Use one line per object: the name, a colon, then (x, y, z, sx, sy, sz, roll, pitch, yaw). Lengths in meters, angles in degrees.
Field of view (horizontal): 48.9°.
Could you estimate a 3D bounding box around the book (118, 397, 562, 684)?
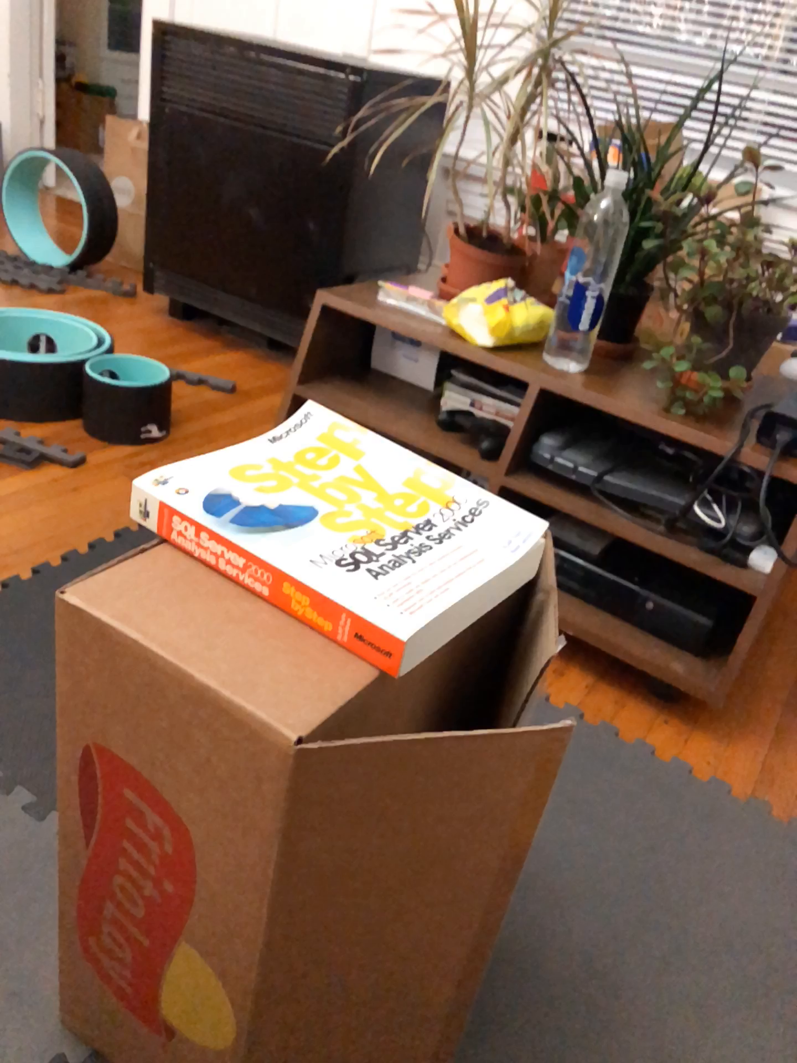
book: (-0.035, -0.013, 0.623, 0.240, 0.050, 0.201, 27, 29, 22)
